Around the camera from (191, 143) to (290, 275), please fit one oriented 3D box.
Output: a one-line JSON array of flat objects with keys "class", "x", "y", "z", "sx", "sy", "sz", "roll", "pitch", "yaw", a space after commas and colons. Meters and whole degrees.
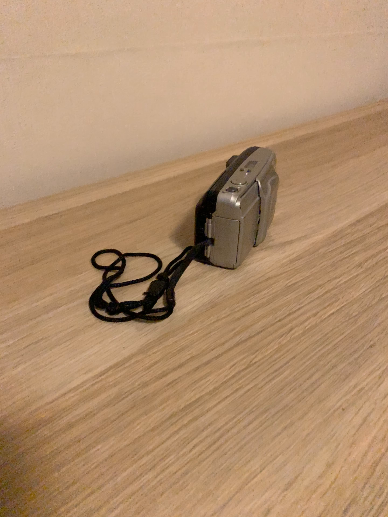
[{"class": "camera", "x": 0.043, "y": -0.049, "z": 0.342, "sx": 0.046, "sy": 0.059, "sz": 0.127, "roll": 13, "pitch": 35, "yaw": 18}]
